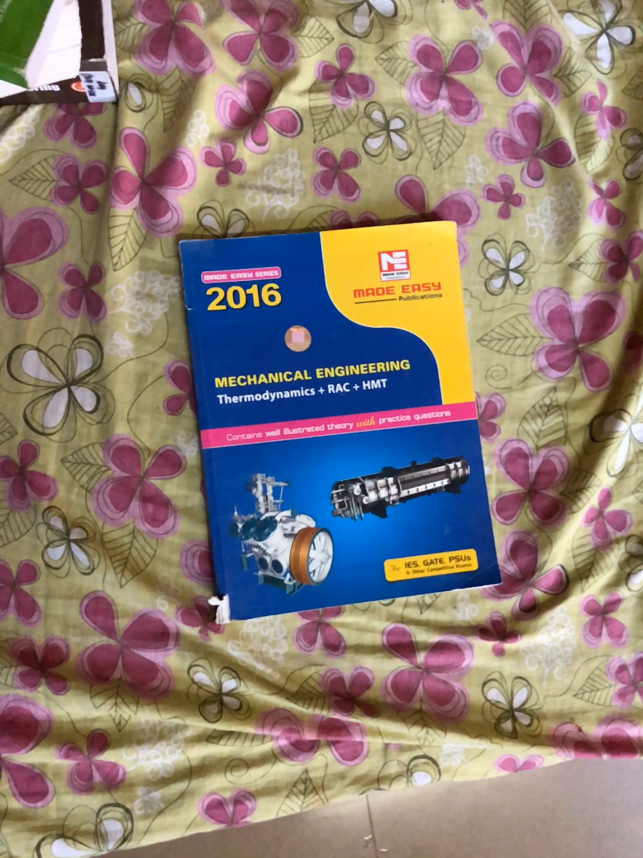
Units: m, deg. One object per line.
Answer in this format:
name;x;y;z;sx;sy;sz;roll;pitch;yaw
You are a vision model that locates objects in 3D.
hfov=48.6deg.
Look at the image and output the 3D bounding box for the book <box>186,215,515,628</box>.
book;0.019;-0.009;0.515;0.200;0.030;0.269;-7;86;-4
